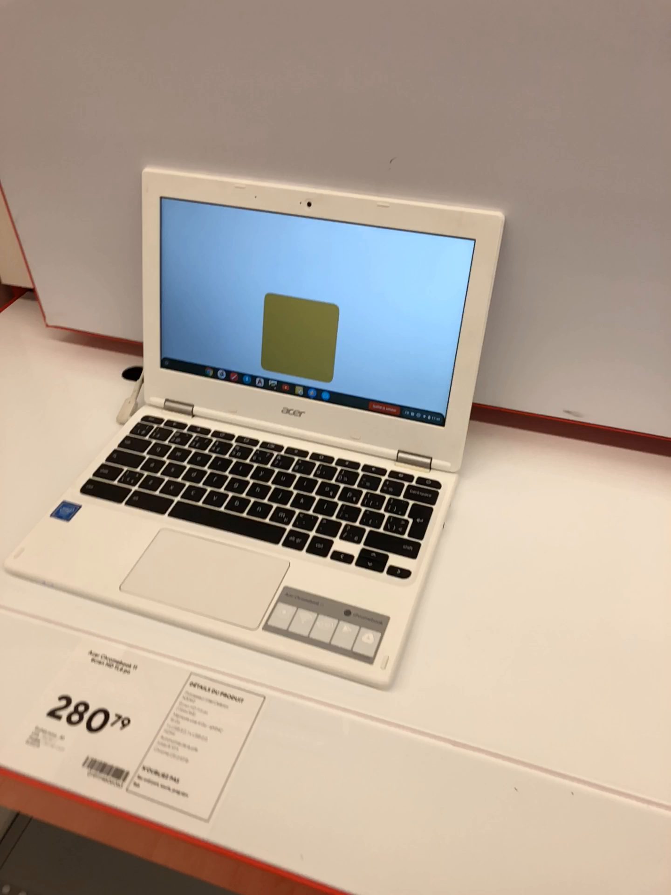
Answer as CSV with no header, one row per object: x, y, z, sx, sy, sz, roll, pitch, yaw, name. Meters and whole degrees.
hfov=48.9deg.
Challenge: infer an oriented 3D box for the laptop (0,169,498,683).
-0.062,-0.038,0.517,0.282,0.188,0.260,12,43,16,laptop
